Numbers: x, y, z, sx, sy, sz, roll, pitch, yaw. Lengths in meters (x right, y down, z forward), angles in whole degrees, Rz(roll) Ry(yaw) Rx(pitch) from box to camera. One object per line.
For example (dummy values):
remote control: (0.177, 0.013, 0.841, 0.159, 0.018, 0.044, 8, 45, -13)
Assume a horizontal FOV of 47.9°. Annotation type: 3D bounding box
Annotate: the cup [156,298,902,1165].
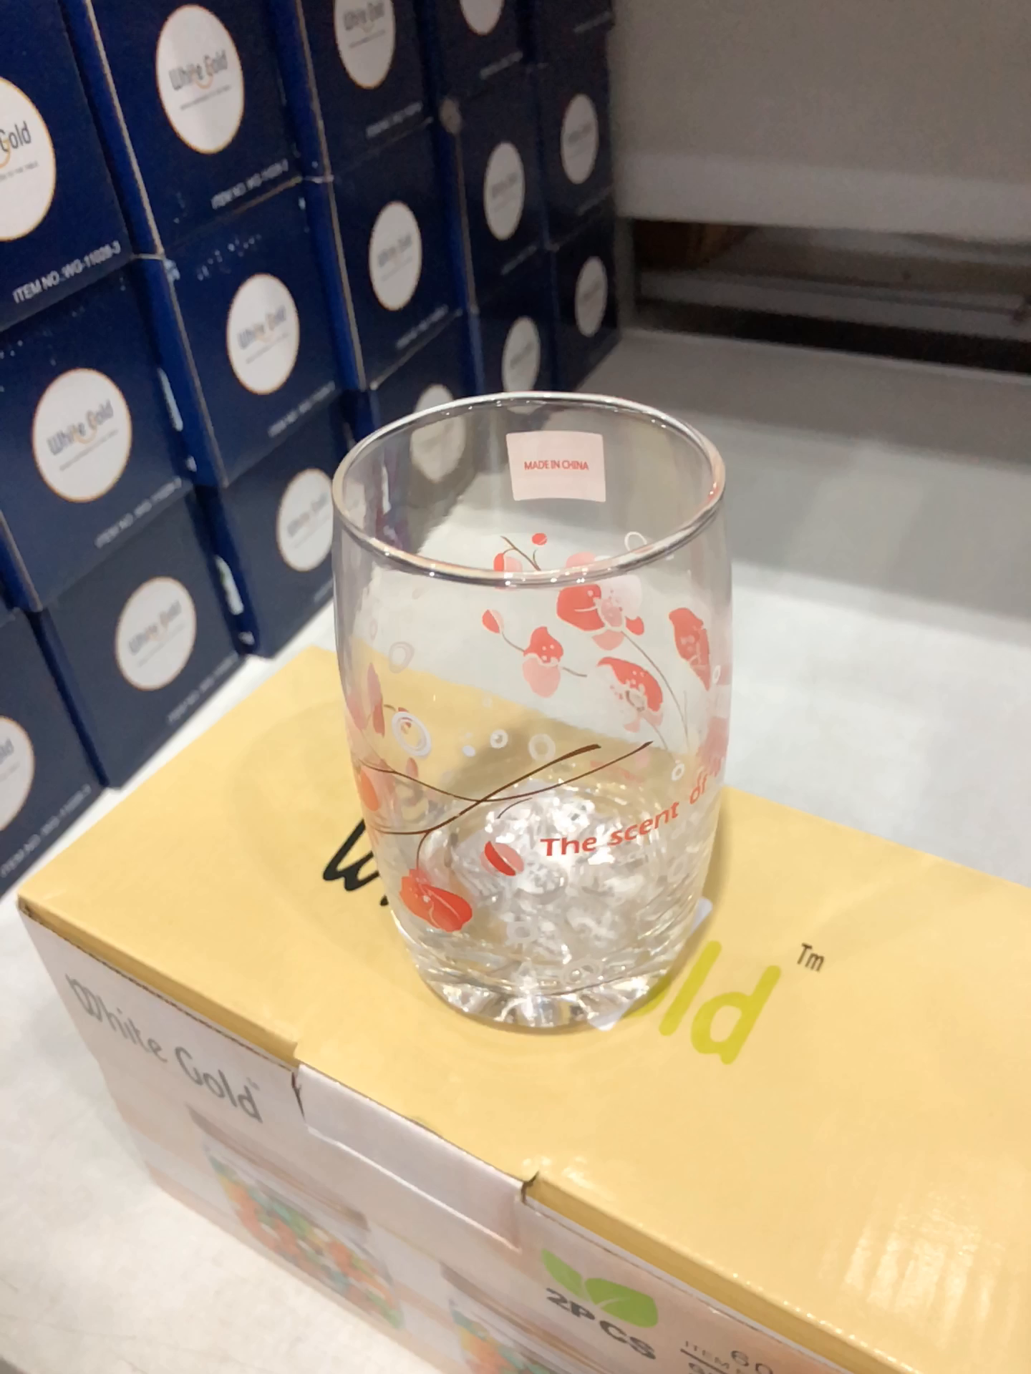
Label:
cup: (0.006, 0.004, 0.210, 0.080, 0.109, 0.080, -4, 39, 3)
